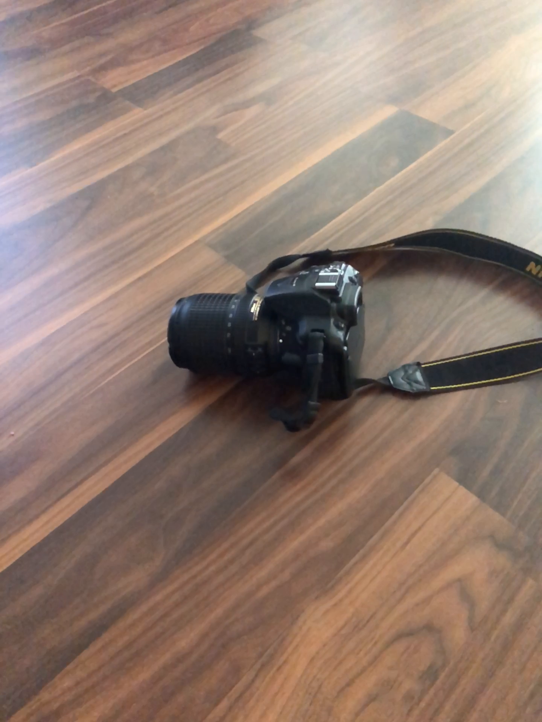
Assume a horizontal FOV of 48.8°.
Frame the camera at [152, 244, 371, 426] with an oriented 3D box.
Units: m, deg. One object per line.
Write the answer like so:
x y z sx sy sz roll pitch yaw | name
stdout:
0.002 -0.026 0.586 0.180 0.130 0.110 4 51 13 | camera
